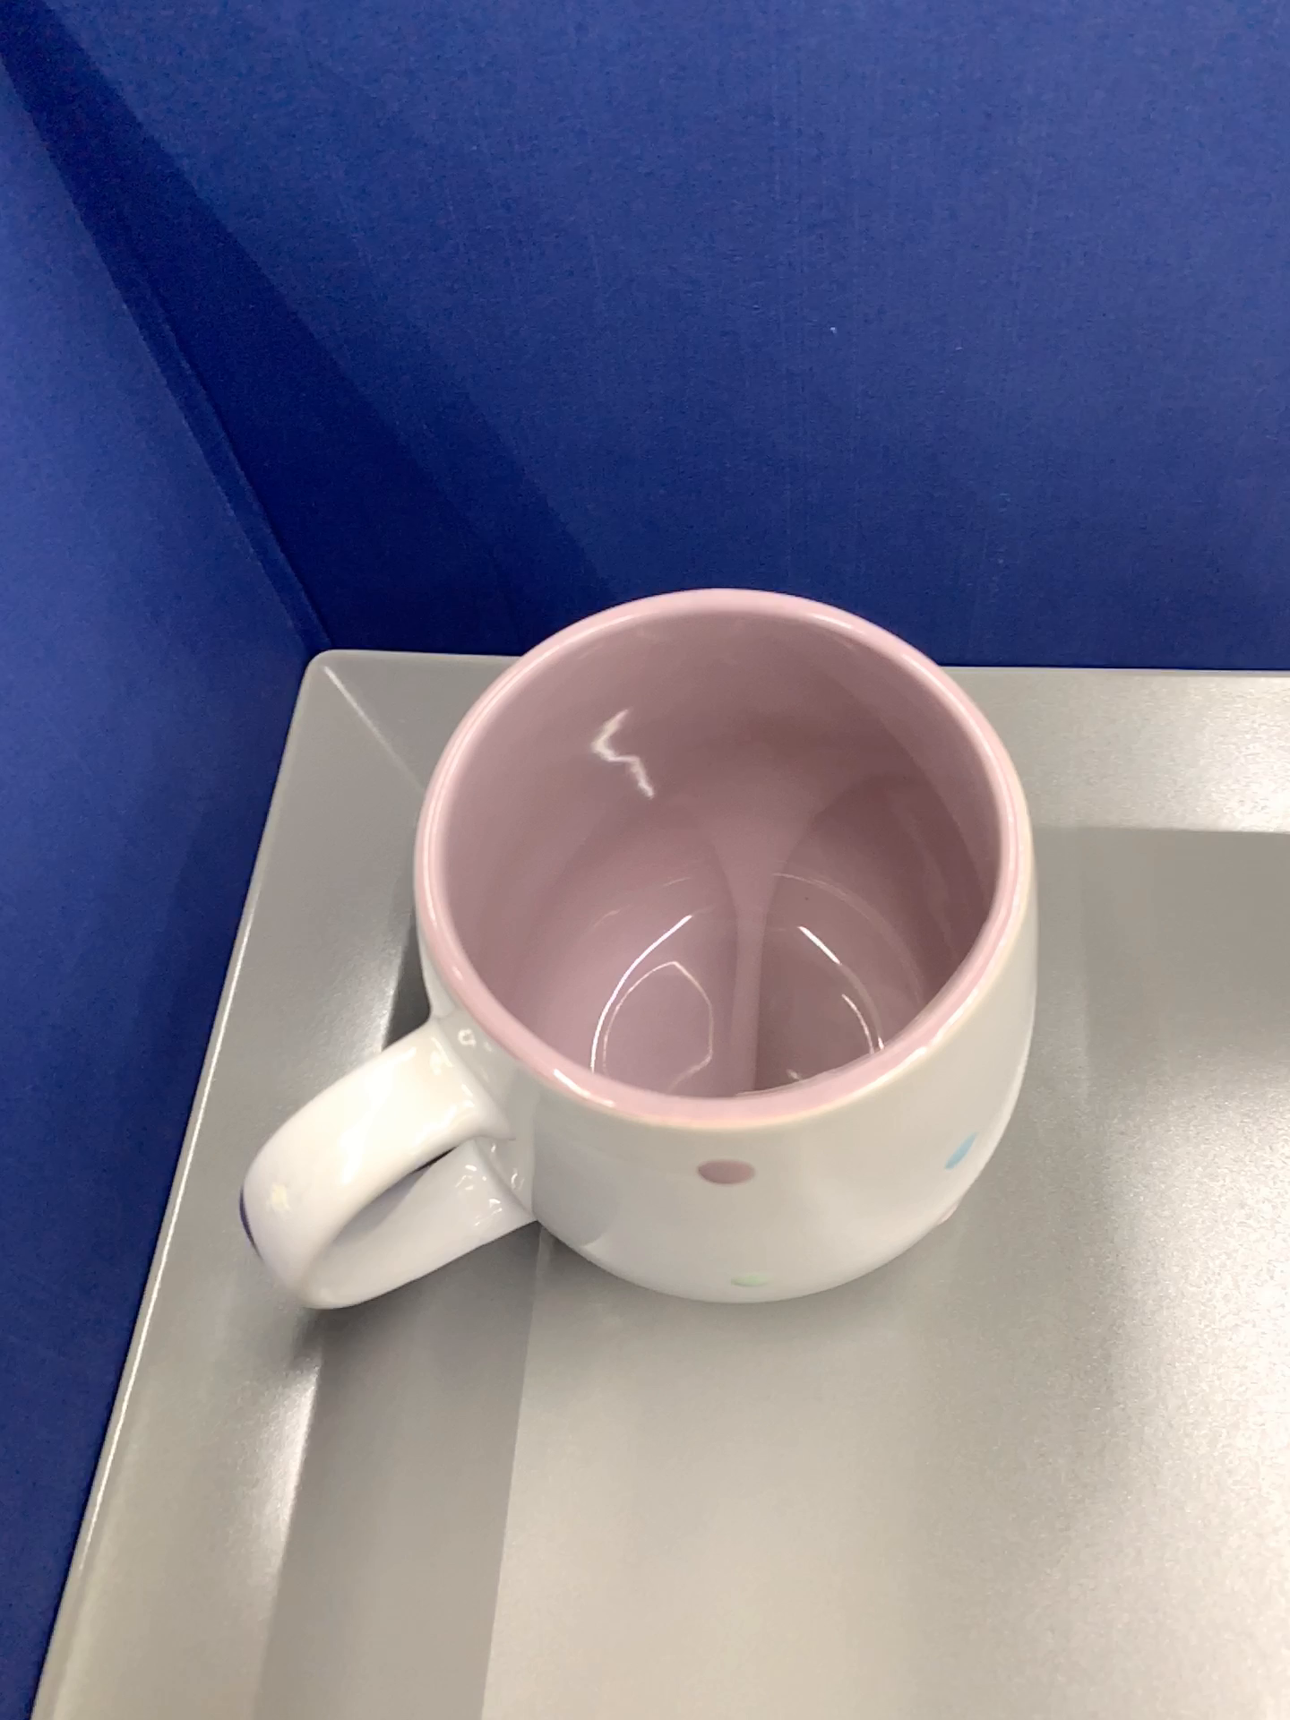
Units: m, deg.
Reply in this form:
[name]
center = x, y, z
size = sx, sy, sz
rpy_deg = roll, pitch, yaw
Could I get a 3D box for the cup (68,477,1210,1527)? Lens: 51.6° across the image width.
[cup]
center = -0.001, 0.024, 0.224
size = 0.130, 0.089, 0.097
rpy_deg = -29, 60, -11
